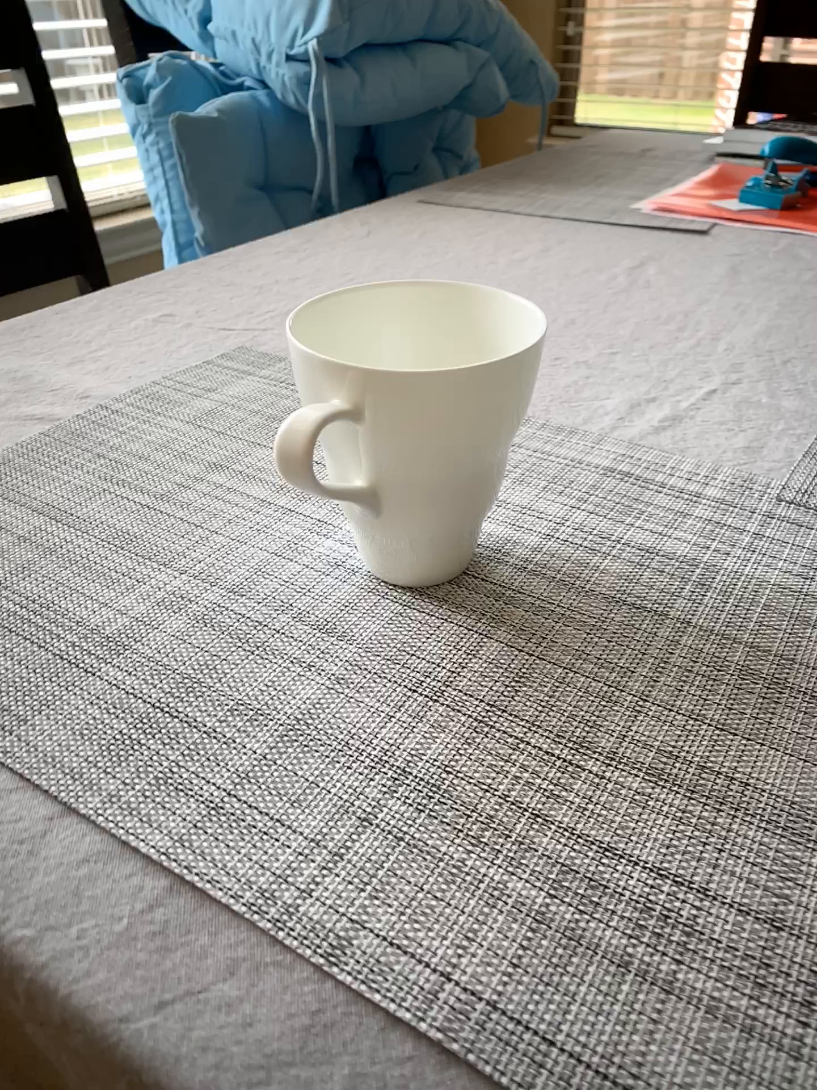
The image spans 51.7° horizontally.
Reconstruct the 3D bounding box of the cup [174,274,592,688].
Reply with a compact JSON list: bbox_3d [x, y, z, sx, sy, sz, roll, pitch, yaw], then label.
[{"bbox_3d":[-0.003,-0.034,0.327,0.099,0.098,0.121,18,37,28],"label":"cup"}]
